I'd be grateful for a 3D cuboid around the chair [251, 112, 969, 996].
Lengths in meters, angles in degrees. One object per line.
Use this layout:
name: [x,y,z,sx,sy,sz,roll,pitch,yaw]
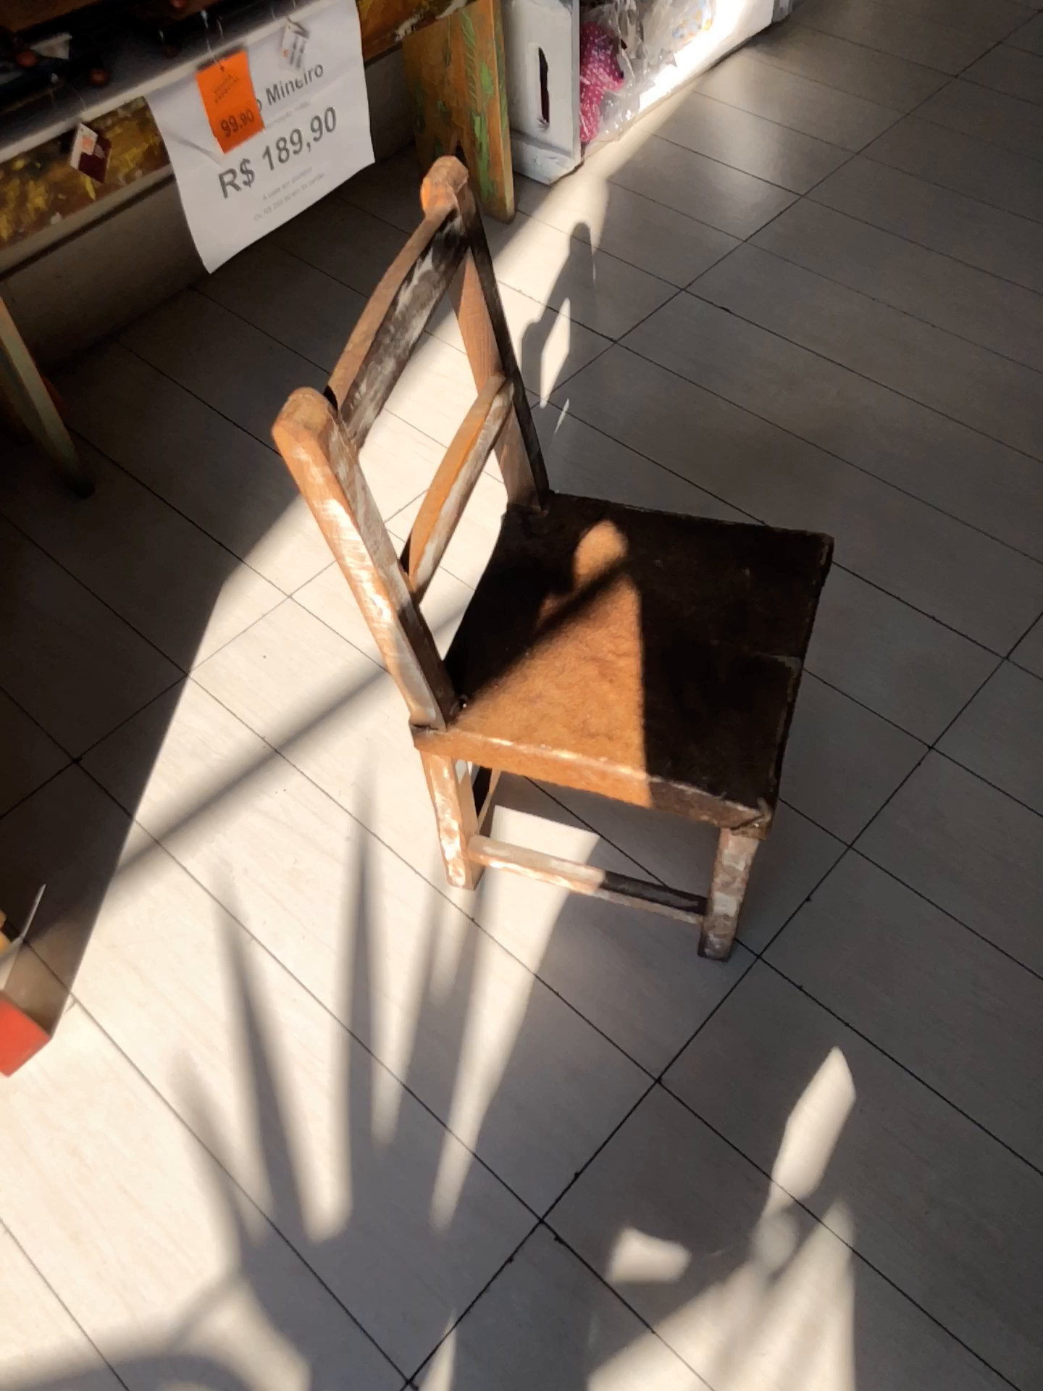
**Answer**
chair: [0.081,-0.063,0.884,0.340,0.596,0.302,12,56,12]
